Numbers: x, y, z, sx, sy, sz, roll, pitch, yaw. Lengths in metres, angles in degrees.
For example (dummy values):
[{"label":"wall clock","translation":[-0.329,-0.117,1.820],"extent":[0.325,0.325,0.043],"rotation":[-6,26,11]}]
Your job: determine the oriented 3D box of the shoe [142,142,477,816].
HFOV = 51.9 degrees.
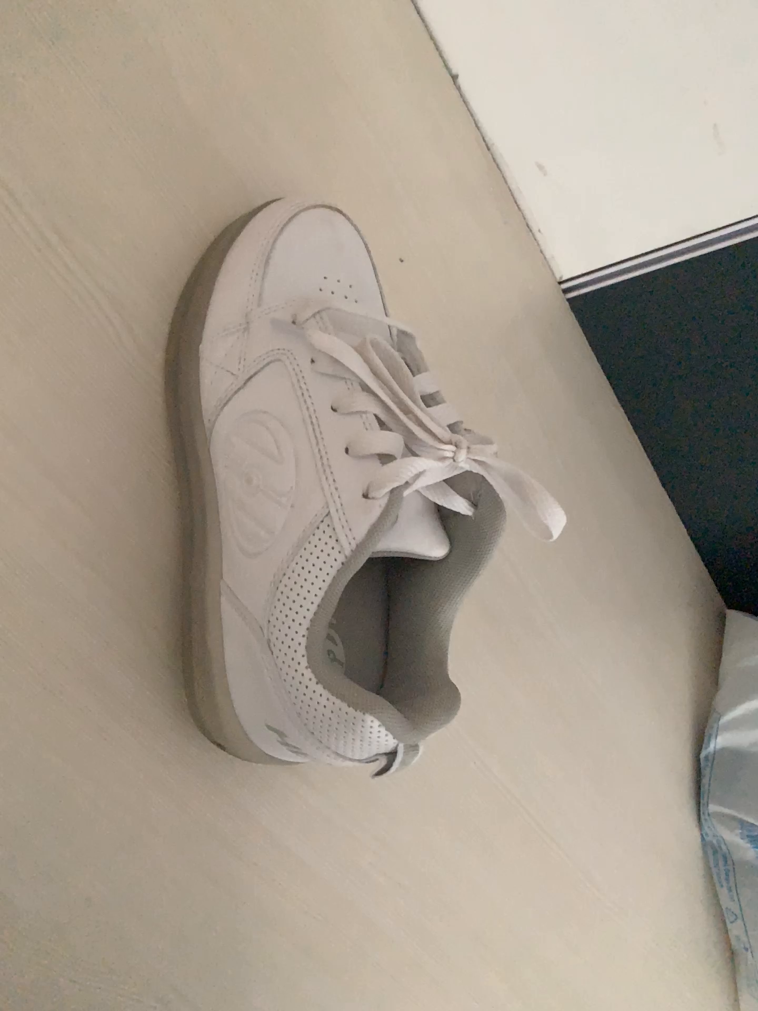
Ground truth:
[{"label":"shoe","translation":[-0.031,-0.006,0.320],"extent":[0.090,0.090,0.230],"rotation":[9,73,-44]}]
